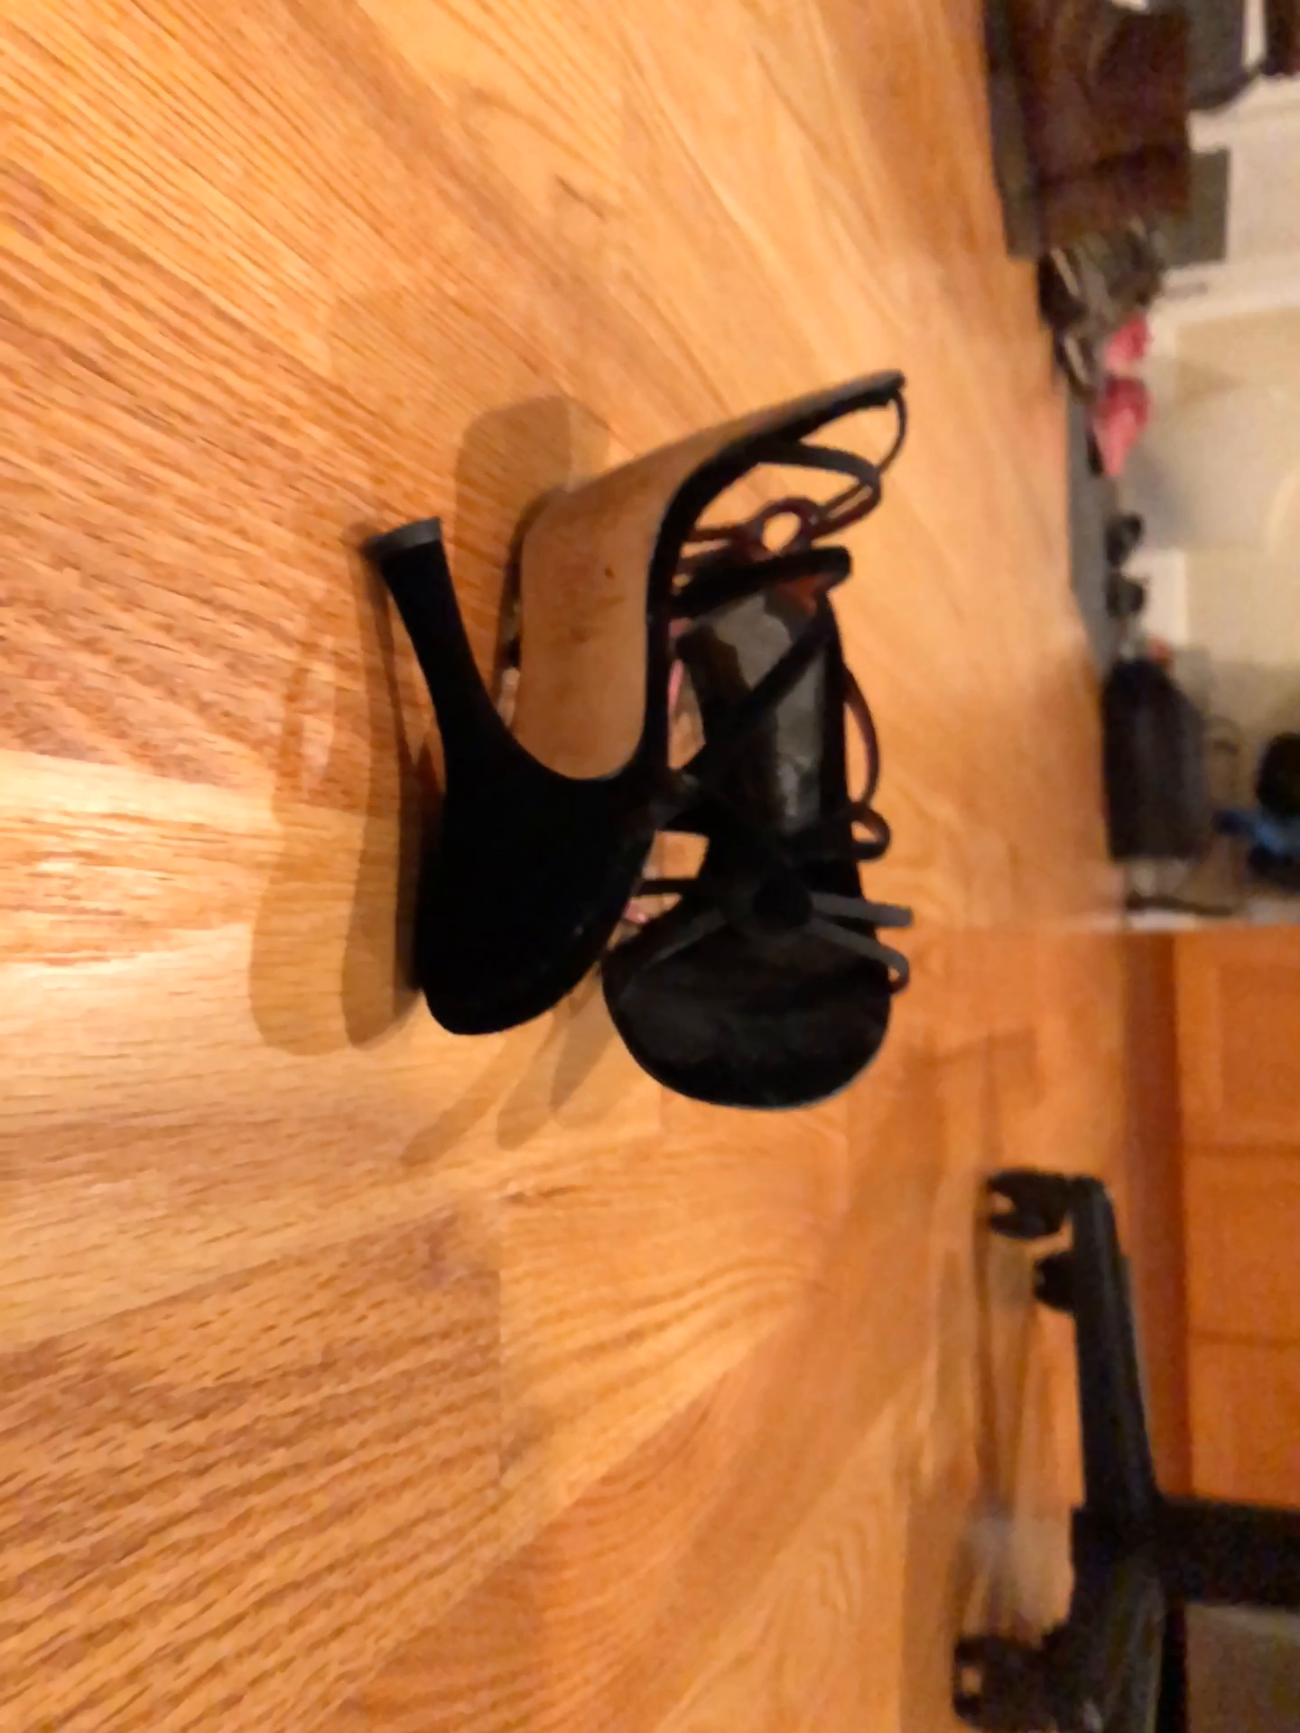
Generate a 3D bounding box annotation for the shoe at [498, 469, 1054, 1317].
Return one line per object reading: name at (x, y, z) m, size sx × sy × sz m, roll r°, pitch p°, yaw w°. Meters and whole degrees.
shoe at (0.052, 0.000, 0.411) m, size 0.102 × 0.104 × 0.216 m, roll 66°, pitch 29°, yaw -44°

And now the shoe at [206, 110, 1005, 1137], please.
shoe at (0.014, -0.066, 0.317) m, size 0.082 × 0.104 × 0.236 m, roll 70°, pitch 27°, yaw -44°
